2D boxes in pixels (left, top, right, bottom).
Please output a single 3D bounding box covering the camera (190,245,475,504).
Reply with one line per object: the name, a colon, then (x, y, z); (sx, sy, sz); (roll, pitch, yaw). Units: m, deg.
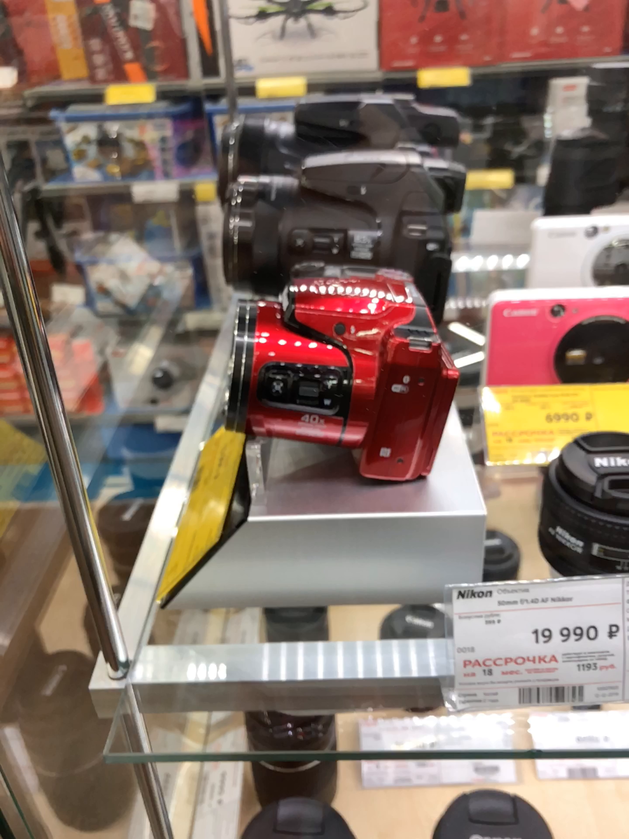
camera: (0.011, -0.027, 0.343); (0.110, 0.076, 0.121); (-1, 30, 3)
